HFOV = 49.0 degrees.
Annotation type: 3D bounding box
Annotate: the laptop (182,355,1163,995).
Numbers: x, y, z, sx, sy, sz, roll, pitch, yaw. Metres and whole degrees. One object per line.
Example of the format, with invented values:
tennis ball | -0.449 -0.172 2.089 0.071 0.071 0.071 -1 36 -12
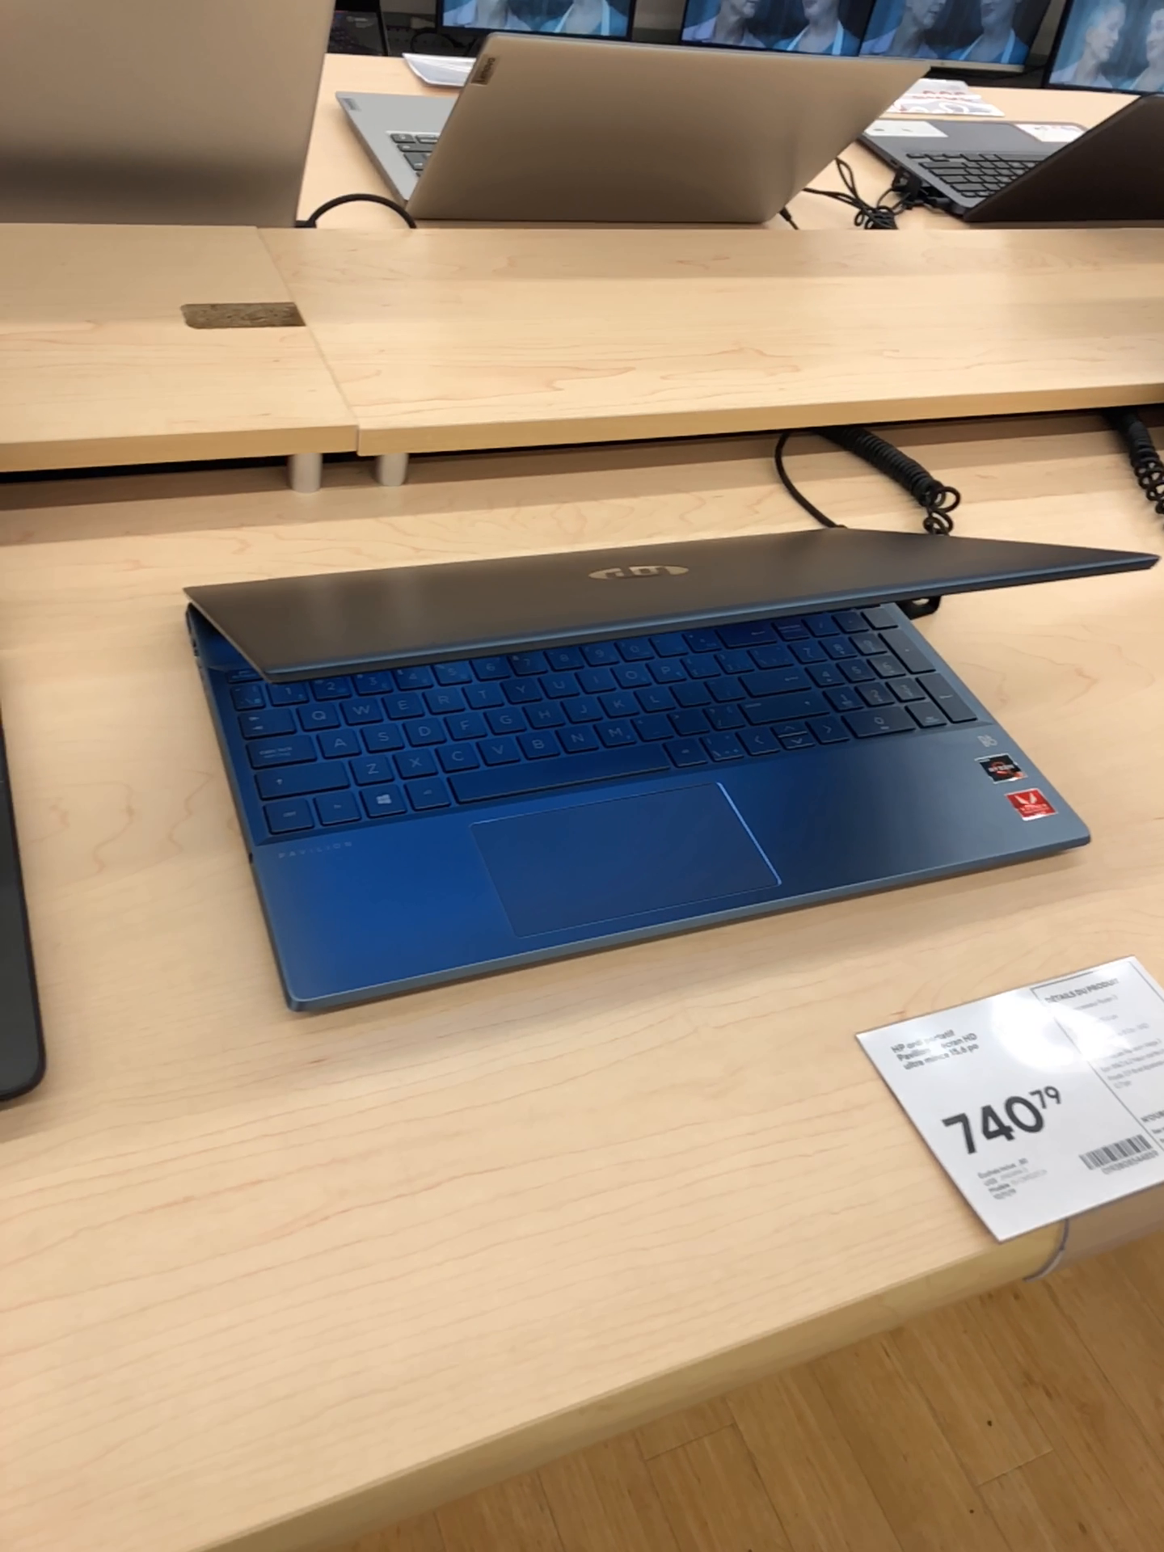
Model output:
laptop | 0.034 -0.065 0.531 0.350 0.119 0.209 -9 47 -22
